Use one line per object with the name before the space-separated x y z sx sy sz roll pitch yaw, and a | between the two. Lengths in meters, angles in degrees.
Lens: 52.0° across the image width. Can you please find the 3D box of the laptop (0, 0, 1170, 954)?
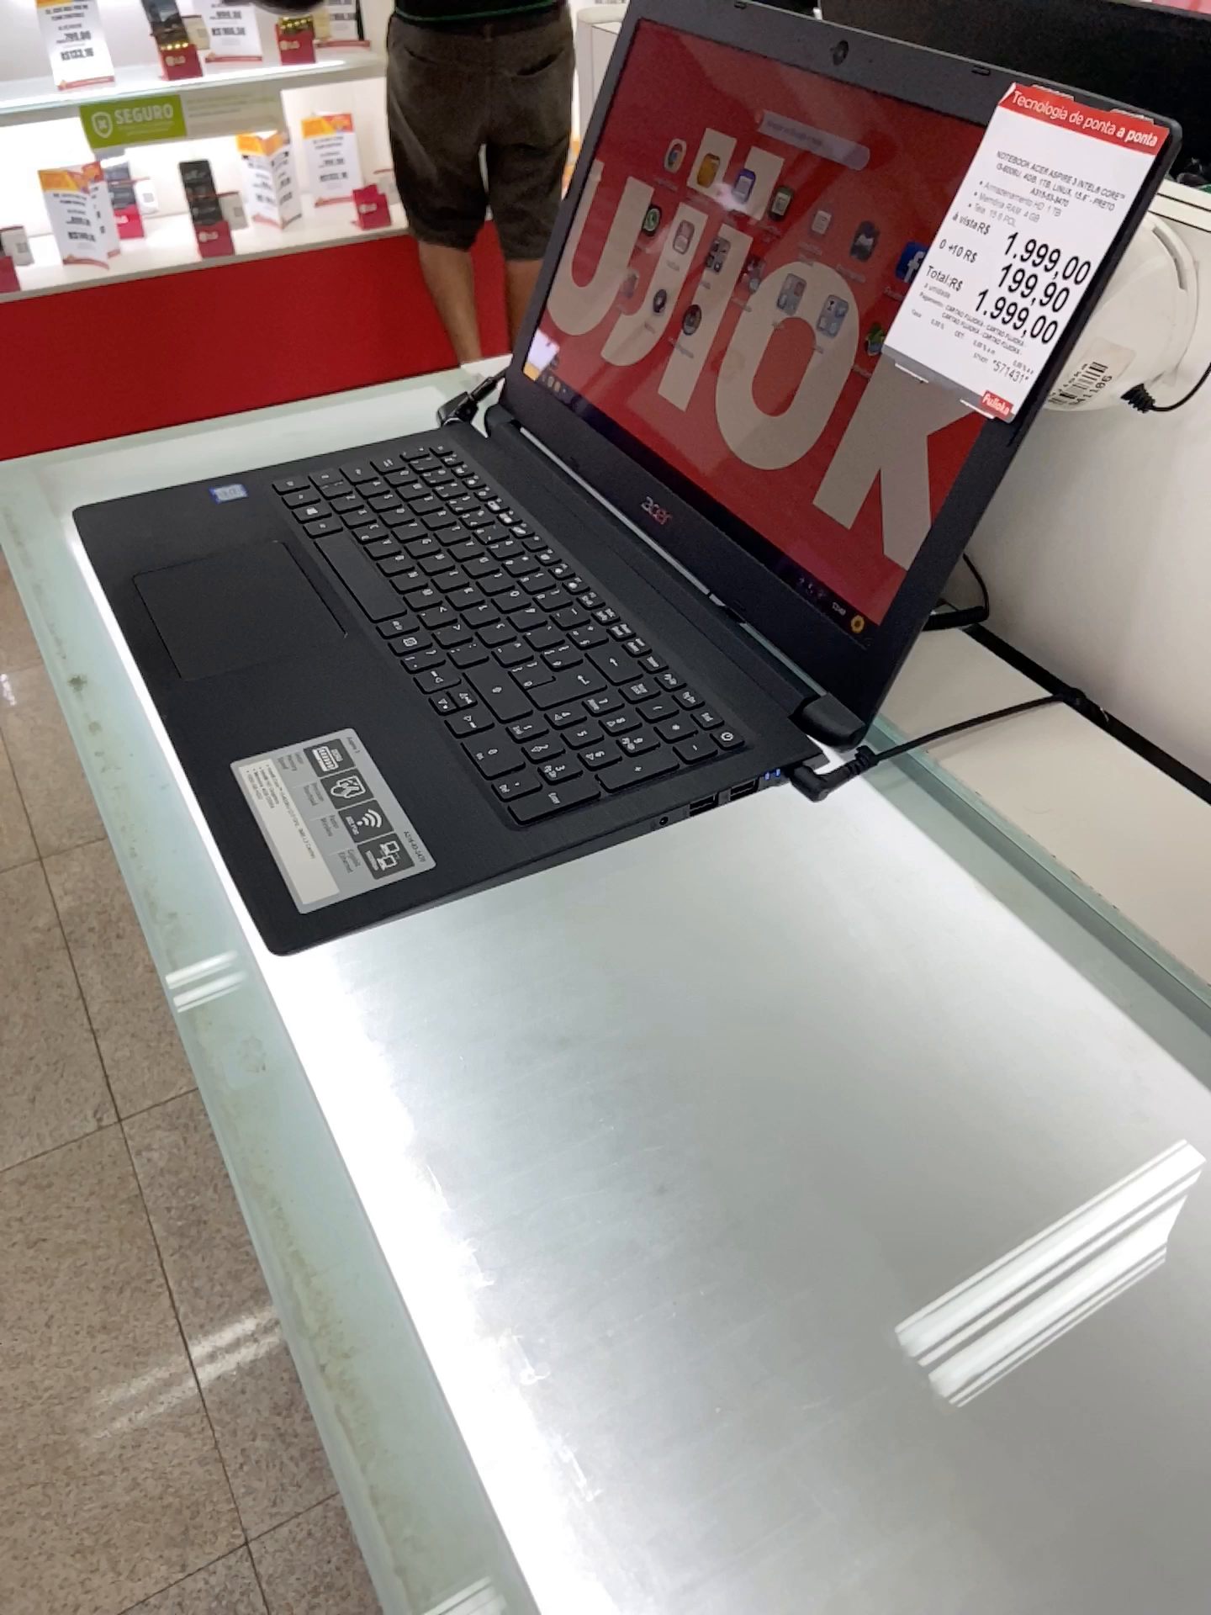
laptop | -0.054 -0.205 0.575 0.370 0.230 0.393 -20 44 -21
